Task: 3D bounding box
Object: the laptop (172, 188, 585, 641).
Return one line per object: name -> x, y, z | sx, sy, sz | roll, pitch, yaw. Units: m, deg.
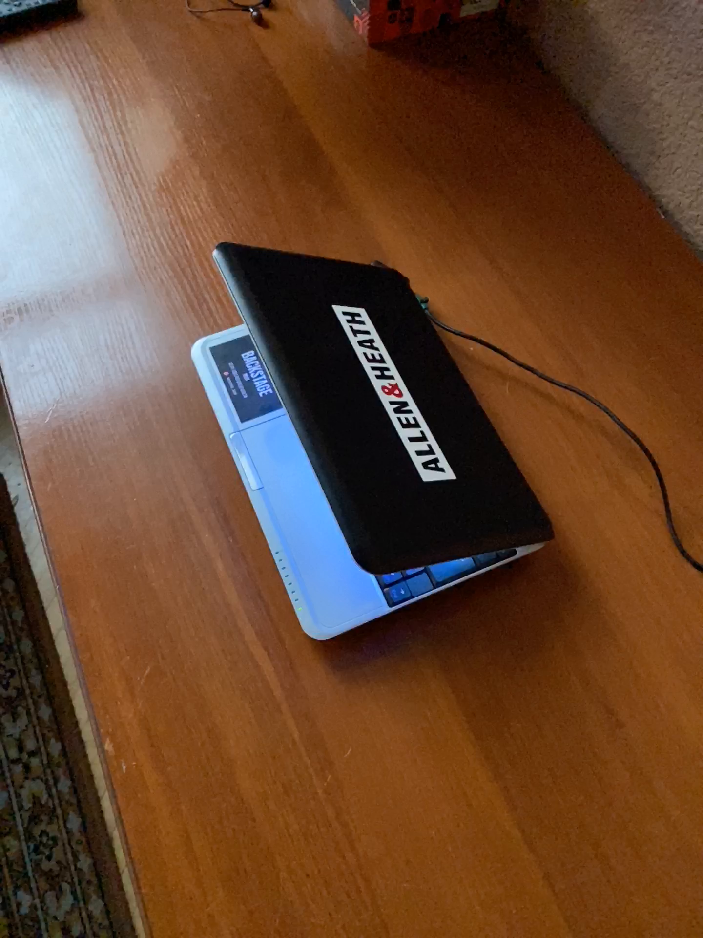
laptop -> 0.003, -0.048, 0.499 | 0.173, 0.089, 0.266 | -21, 64, -10
